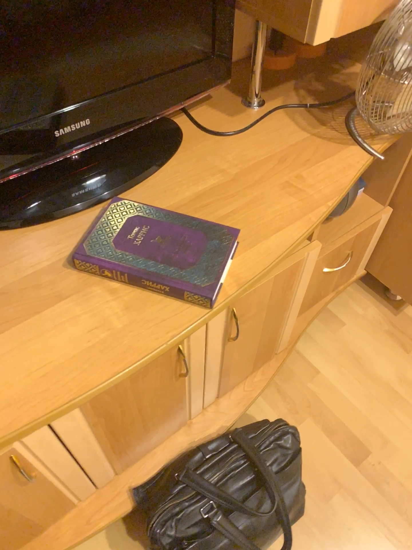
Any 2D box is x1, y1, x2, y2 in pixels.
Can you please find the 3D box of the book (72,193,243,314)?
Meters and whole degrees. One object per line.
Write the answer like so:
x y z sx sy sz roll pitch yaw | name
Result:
-0.063 -0.037 0.595 0.200 0.040 0.131 16 53 10 | book
